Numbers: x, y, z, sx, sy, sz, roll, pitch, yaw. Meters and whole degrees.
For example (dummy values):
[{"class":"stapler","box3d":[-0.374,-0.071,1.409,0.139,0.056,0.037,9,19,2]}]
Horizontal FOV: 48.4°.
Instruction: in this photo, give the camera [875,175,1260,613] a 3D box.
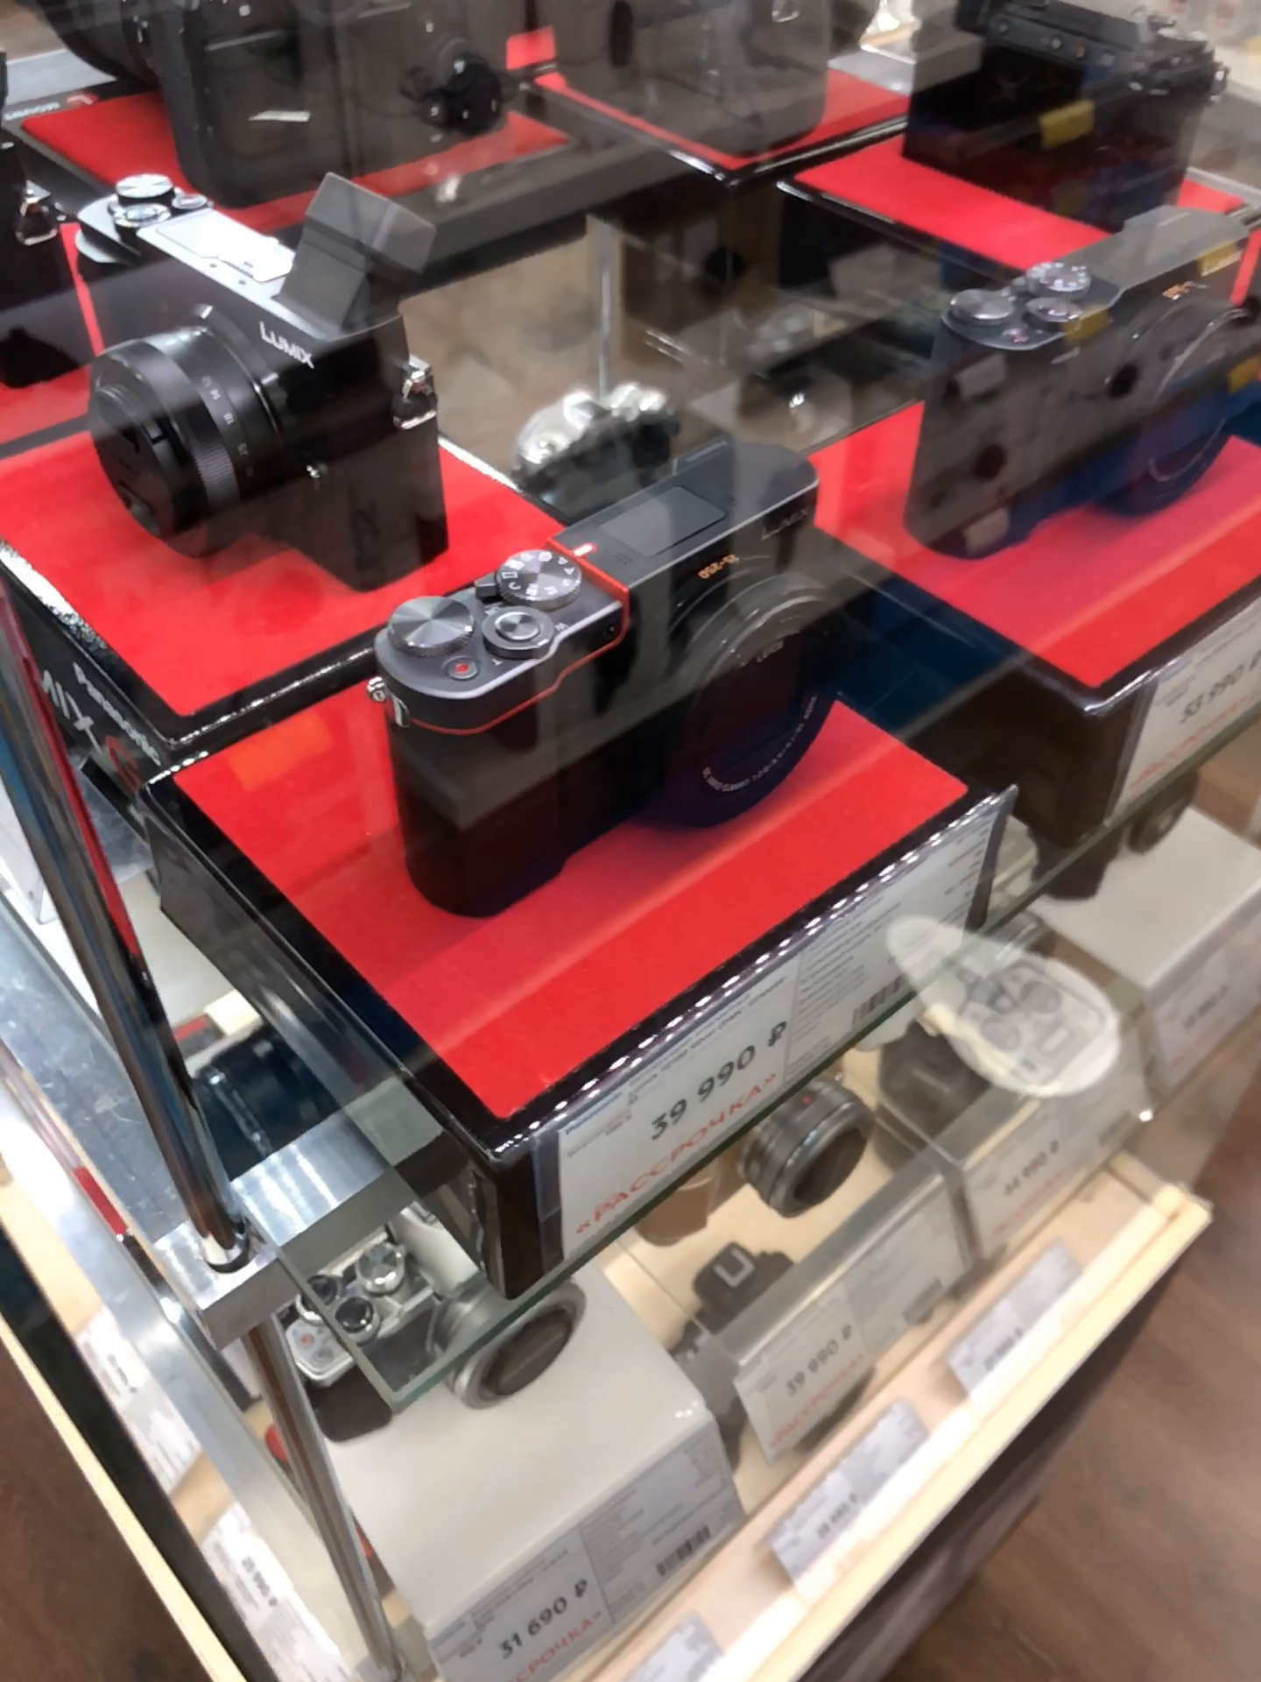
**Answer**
[{"class":"camera","box3d":[0.129,-0.124,0.381,0.113,0.070,0.051,-30,53,-27]}]

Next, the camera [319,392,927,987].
[{"class":"camera","box3d":[0.001,-0.035,0.296,0.113,0.070,0.050,-32,54,-28]}]

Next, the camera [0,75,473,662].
[{"class":"camera","box3d":[-0.108,-0.129,0.377,0.069,0.101,0.113,-33,55,-29]}]
